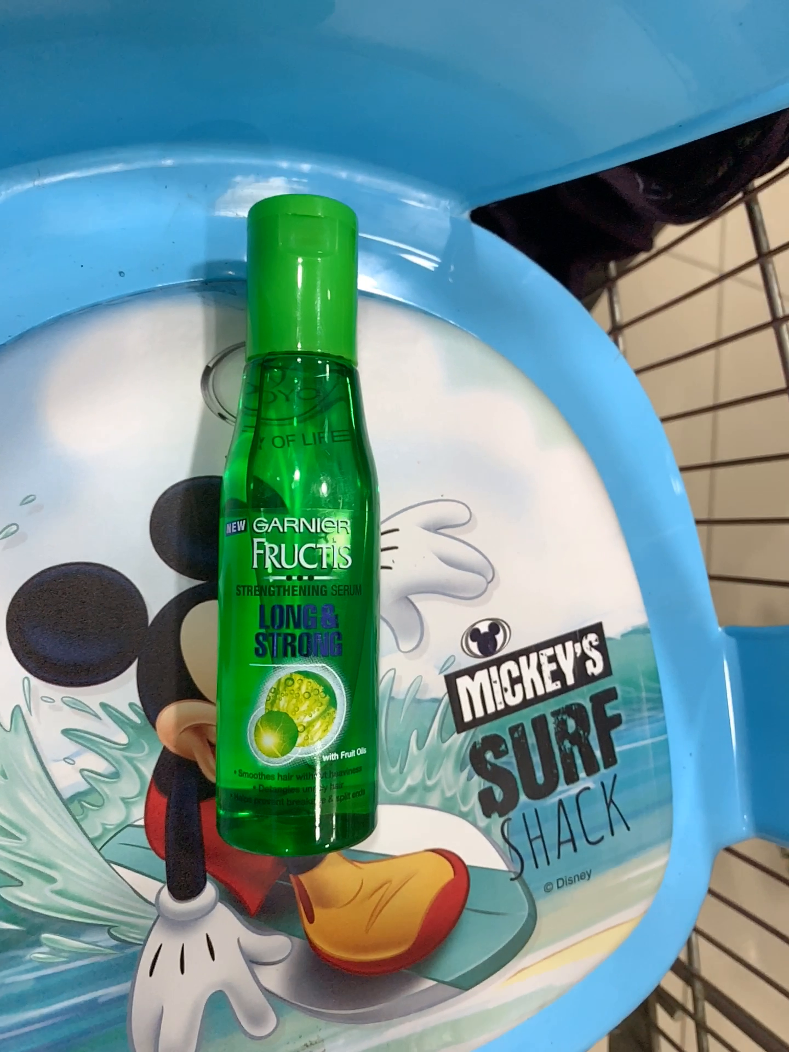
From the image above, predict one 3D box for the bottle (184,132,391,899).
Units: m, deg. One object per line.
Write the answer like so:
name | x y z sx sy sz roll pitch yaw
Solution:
bottle | -0.023 -0.003 0.192 0.040 0.040 0.160 -1 86 2
